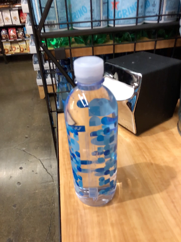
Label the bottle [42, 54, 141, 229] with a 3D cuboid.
[{"bbox_3d":[0.007,0.031,0.249,0.070,0.199,0.070,-2,33,1],"label":"bottle"}]
